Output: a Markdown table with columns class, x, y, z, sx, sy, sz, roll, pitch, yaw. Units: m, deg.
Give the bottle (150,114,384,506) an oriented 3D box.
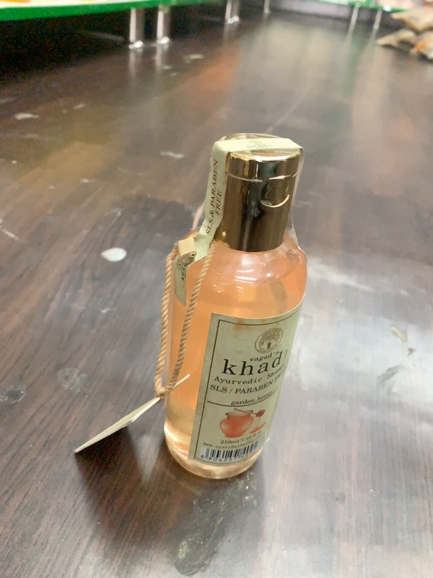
| class | x | y | z | sx | sy | sz | roll | pitch | yaw |
| --- | --- | --- | --- | --- | --- | --- | --- | --- | --- |
| bottle | 0.007 | 0.014 | 0.181 | 0.050 | 0.149 | 0.050 | 5 | 35 | -4 |
